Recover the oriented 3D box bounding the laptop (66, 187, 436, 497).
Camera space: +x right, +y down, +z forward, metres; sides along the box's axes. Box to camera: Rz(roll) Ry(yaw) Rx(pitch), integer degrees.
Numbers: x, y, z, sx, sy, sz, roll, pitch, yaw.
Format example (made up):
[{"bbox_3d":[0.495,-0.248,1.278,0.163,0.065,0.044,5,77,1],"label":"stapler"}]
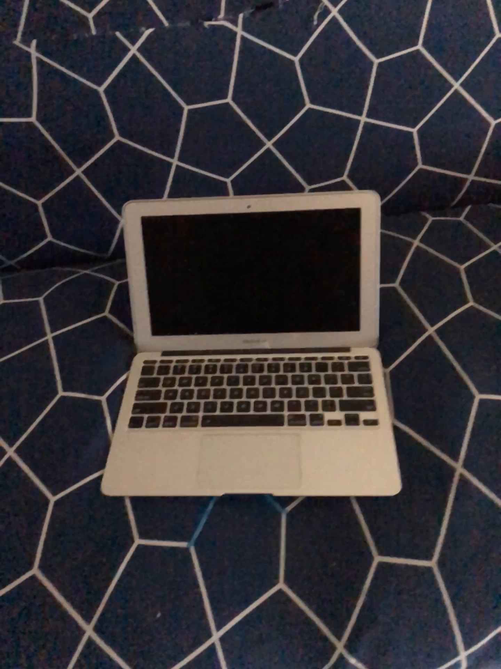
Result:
[{"bbox_3d":[0.004,-0.004,0.566,0.281,0.156,0.281,-1,45,3],"label":"laptop"}]
